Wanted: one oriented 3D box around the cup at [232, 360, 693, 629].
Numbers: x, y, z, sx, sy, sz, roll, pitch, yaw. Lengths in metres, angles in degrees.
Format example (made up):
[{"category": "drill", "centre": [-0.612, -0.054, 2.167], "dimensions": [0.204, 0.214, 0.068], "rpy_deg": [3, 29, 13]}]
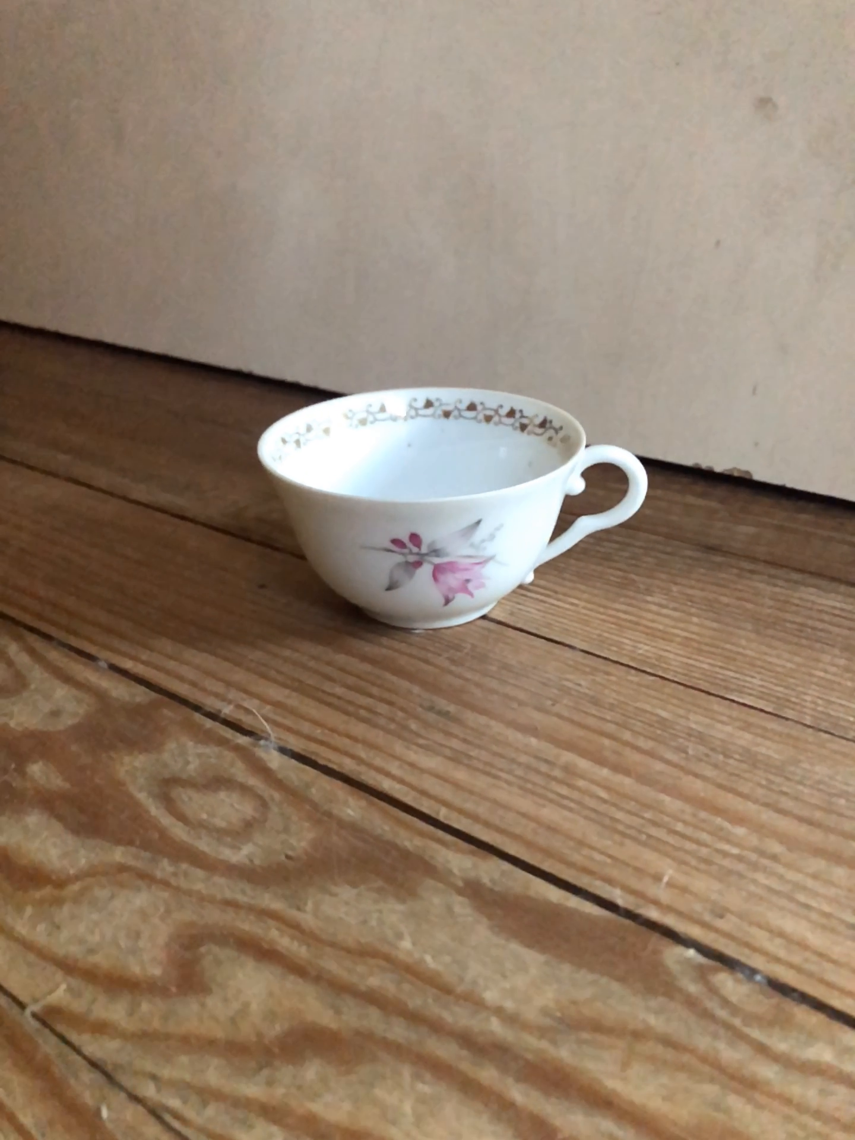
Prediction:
[{"category": "cup", "centre": [0.008, -0.024, 0.251], "dimensions": [0.100, 0.040, 0.080], "rpy_deg": [-1, 29, 1]}]
